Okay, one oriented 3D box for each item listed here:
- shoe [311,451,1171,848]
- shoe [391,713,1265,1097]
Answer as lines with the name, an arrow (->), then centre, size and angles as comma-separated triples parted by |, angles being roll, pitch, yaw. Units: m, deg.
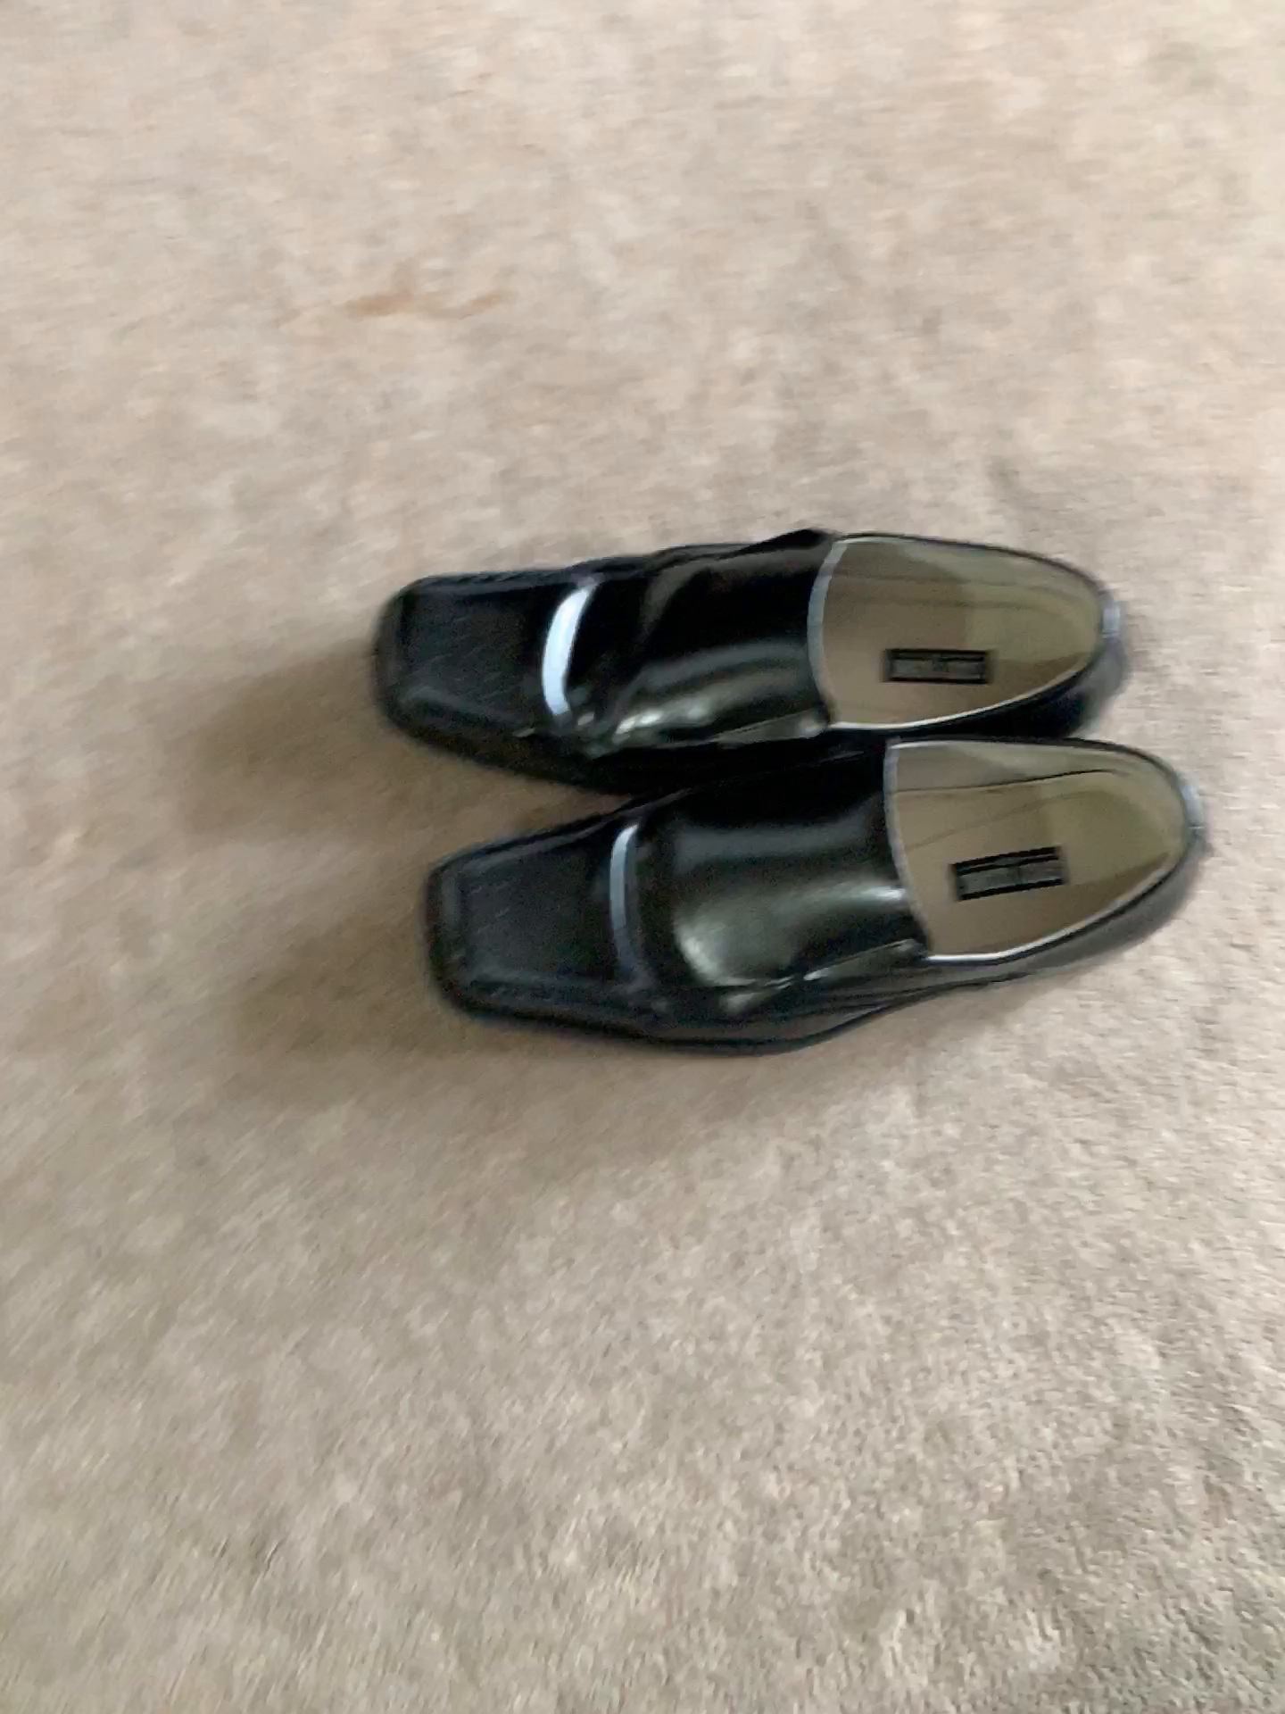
shoe -> 0.040, -0.082, 0.564 | 0.320, 0.120, 0.110 | 4, 77, 2
shoe -> 0.066, 0.026, 0.548 | 0.310, 0.120, 0.110 | -5, 77, 0
